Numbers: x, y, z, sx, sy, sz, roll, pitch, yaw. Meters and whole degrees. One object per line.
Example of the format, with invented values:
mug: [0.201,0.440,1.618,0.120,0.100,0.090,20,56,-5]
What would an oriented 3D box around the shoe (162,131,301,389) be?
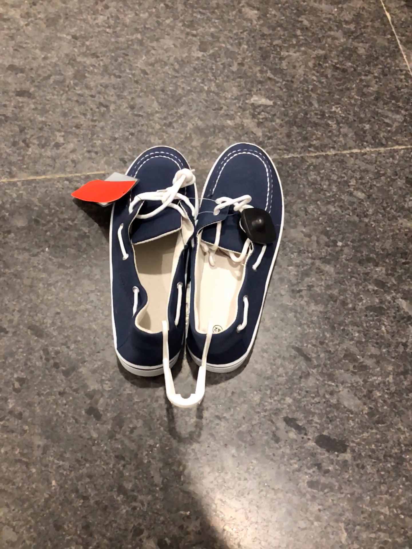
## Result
shoe: [0.030,-0.016,0.504,0.096,0.115,0.247,12,66,2]

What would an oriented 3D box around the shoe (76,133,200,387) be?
shoe: [-0.062,-0.015,0.496,0.096,0.115,0.249,3,66,-2]
